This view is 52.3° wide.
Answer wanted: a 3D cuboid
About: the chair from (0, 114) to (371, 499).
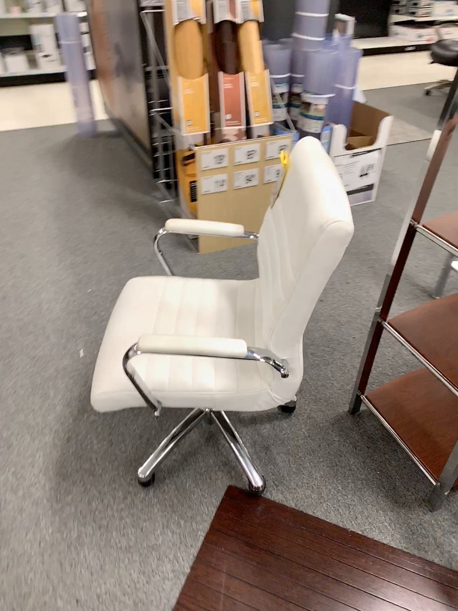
[{"bbox_3d":[-0.079,0.012,1.356,0.680,0.905,0.623,2,38,2],"label":"chair"}]
